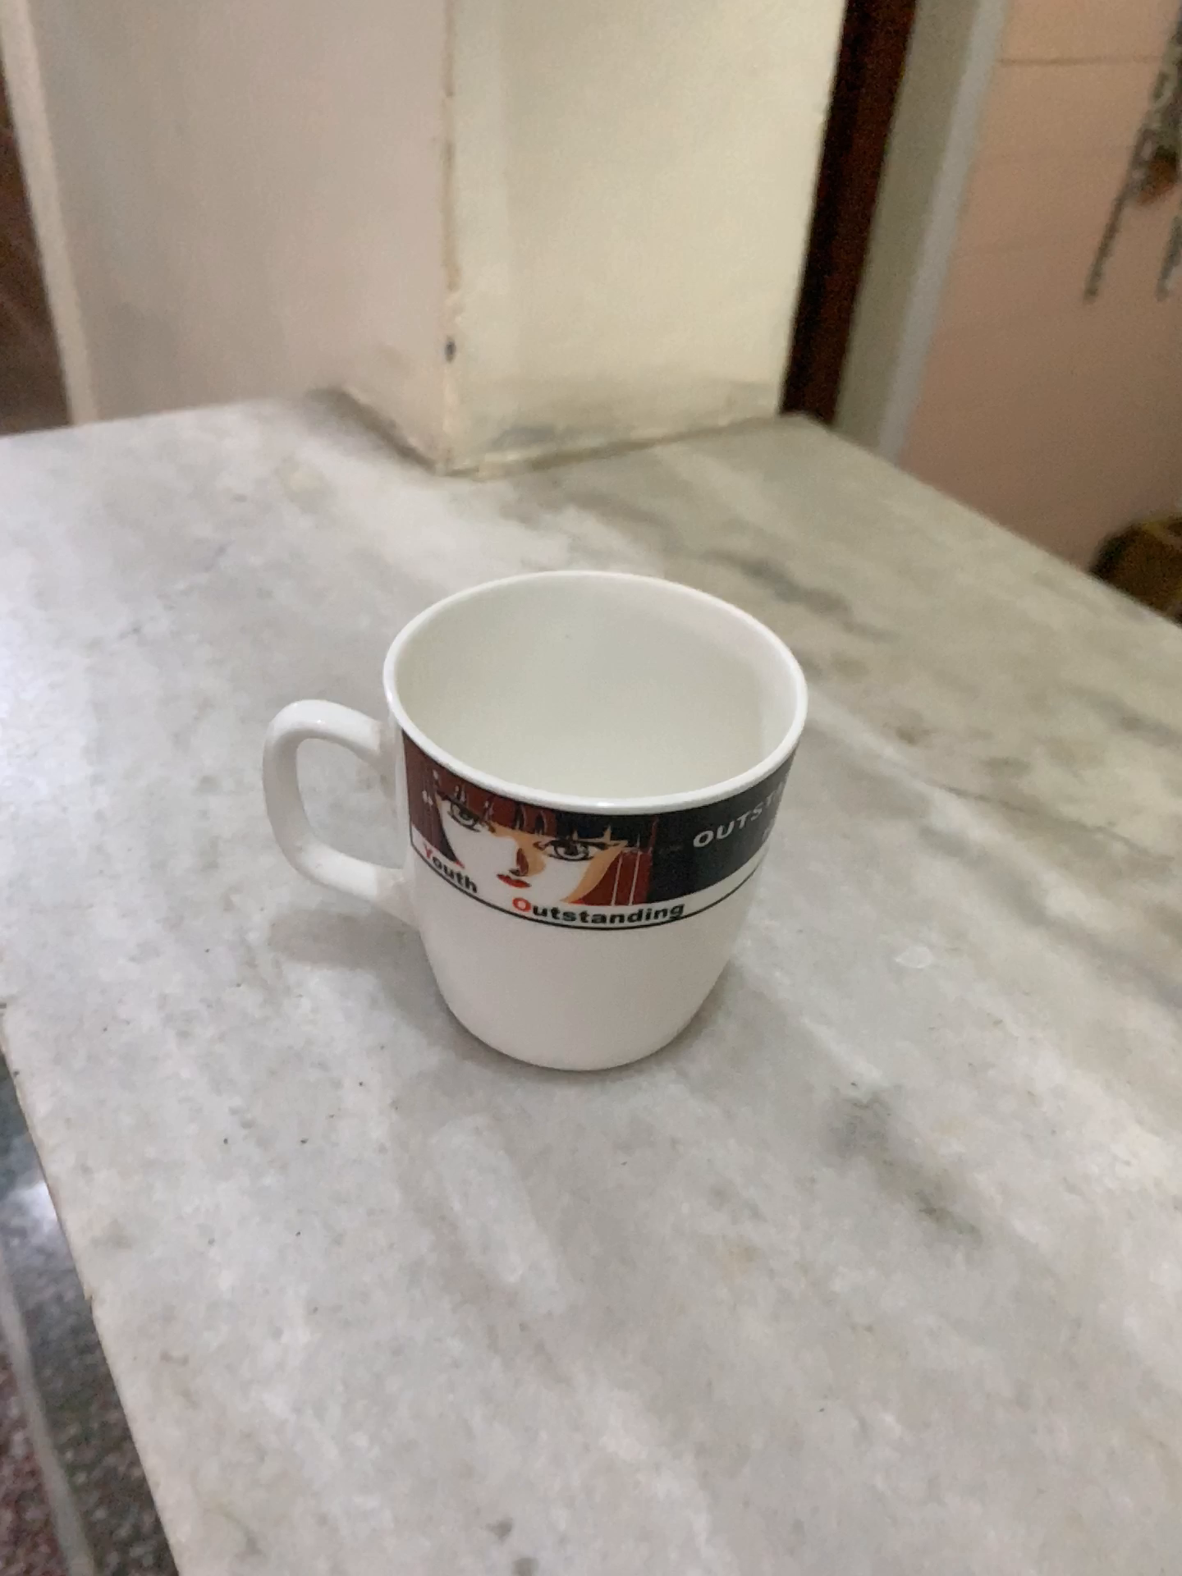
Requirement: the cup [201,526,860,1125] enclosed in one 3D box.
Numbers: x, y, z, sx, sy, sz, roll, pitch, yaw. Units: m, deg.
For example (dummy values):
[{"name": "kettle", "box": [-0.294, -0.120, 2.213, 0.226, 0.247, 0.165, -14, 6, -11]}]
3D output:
[{"name": "cup", "box": [-0.006, 0.003, 0.211, 0.090, 0.060, 0.070, 8, 38, 4]}]
